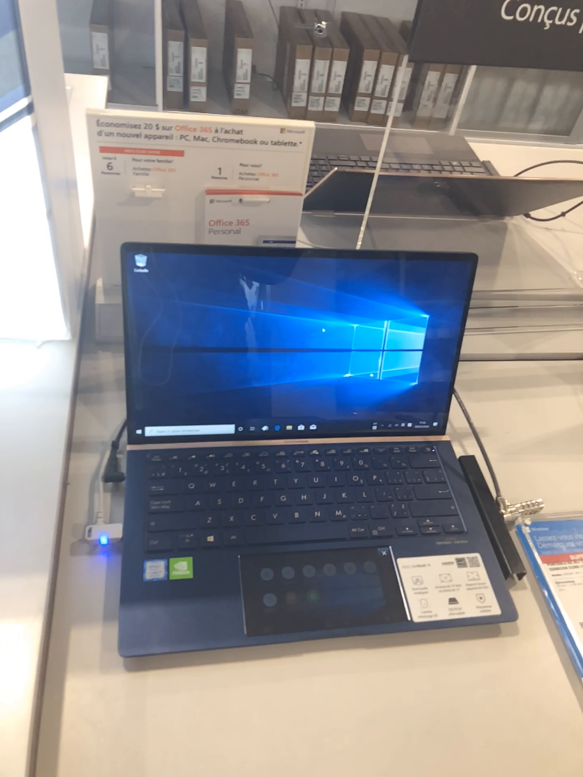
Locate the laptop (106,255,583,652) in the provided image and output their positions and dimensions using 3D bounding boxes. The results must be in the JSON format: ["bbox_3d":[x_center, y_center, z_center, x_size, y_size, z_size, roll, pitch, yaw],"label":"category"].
[{"bbox_3d":[0.024,0.039,0.515,0.309,0.179,0.254,-1,44,-12],"label":"laptop"}]
